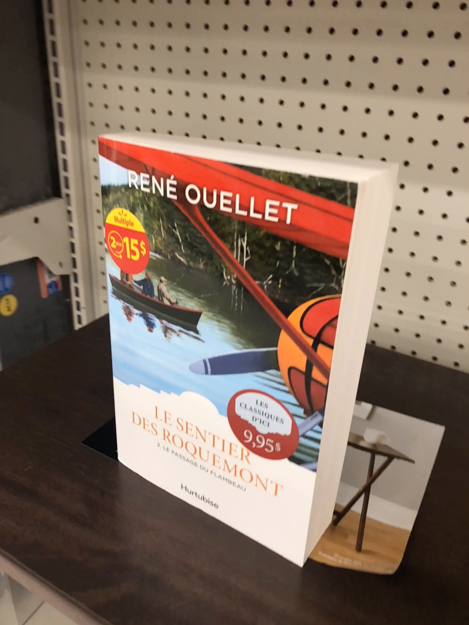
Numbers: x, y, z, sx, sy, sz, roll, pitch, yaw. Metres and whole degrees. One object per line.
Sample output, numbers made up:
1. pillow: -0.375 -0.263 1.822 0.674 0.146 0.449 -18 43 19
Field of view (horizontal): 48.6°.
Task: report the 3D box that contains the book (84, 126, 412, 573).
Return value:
1. book: -0.004 0.015 0.304 0.153 0.215 0.065 18 28 28
